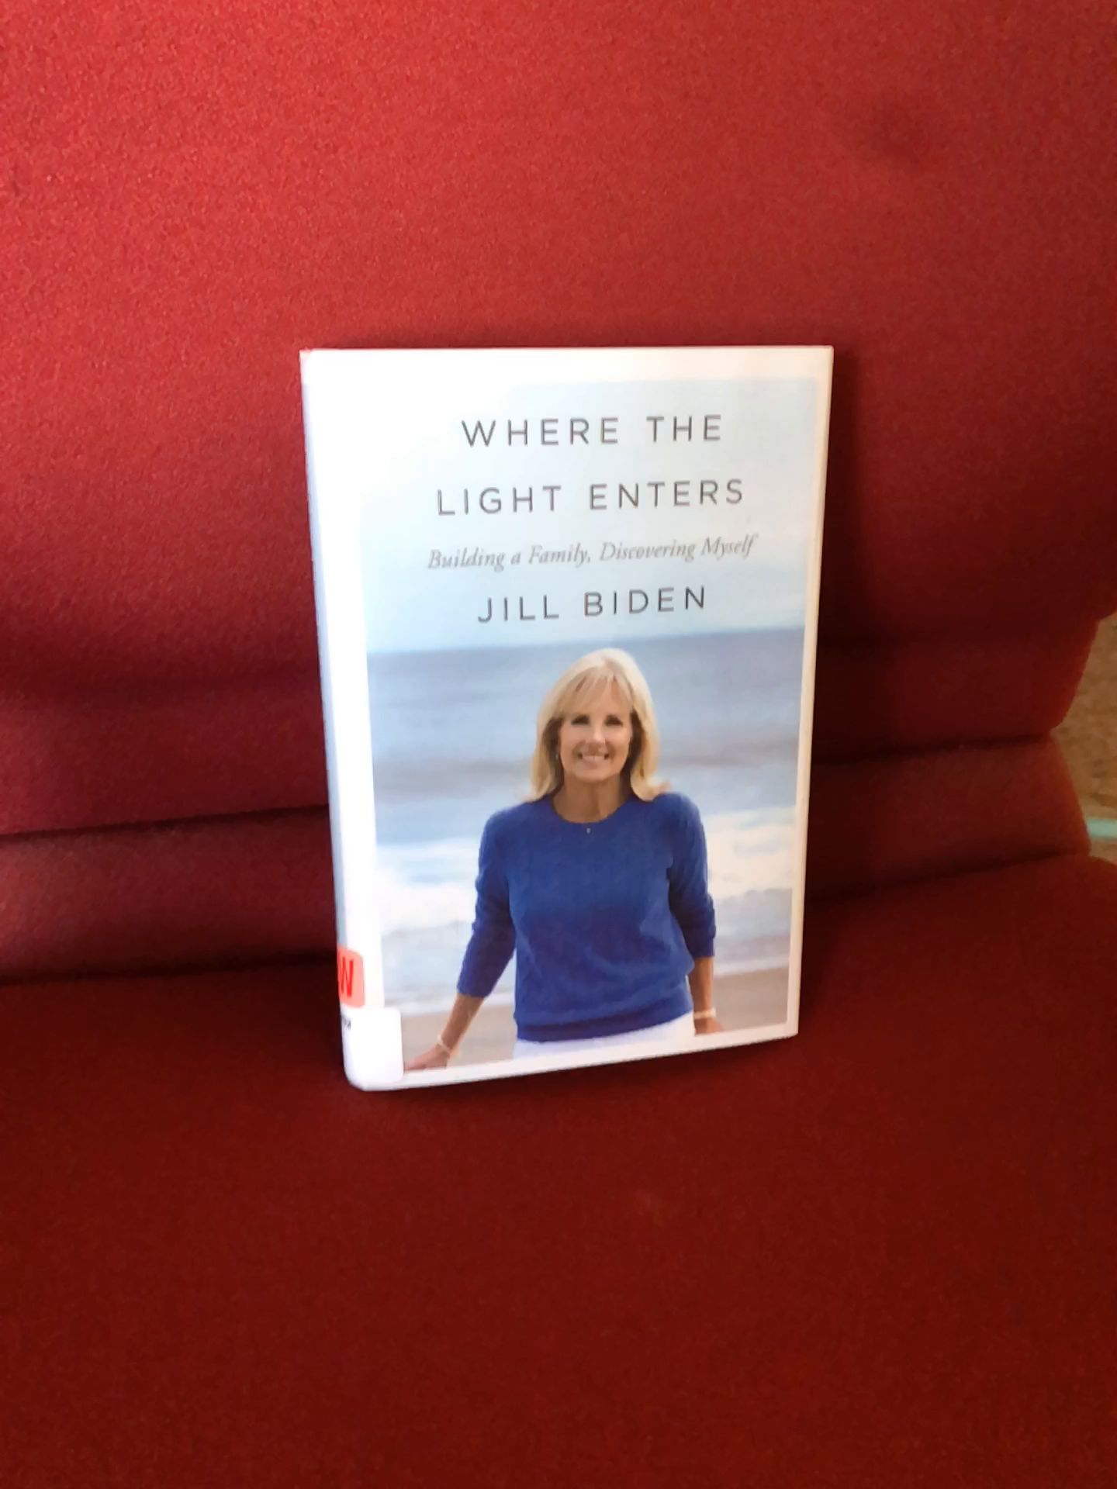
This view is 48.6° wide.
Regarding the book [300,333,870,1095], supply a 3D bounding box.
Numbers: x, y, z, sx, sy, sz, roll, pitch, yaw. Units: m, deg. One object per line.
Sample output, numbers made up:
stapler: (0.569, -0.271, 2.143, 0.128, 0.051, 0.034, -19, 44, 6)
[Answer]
book: (0.008, -0.008, 0.360, 0.150, 0.210, 0.030, -4, 17, -13)
